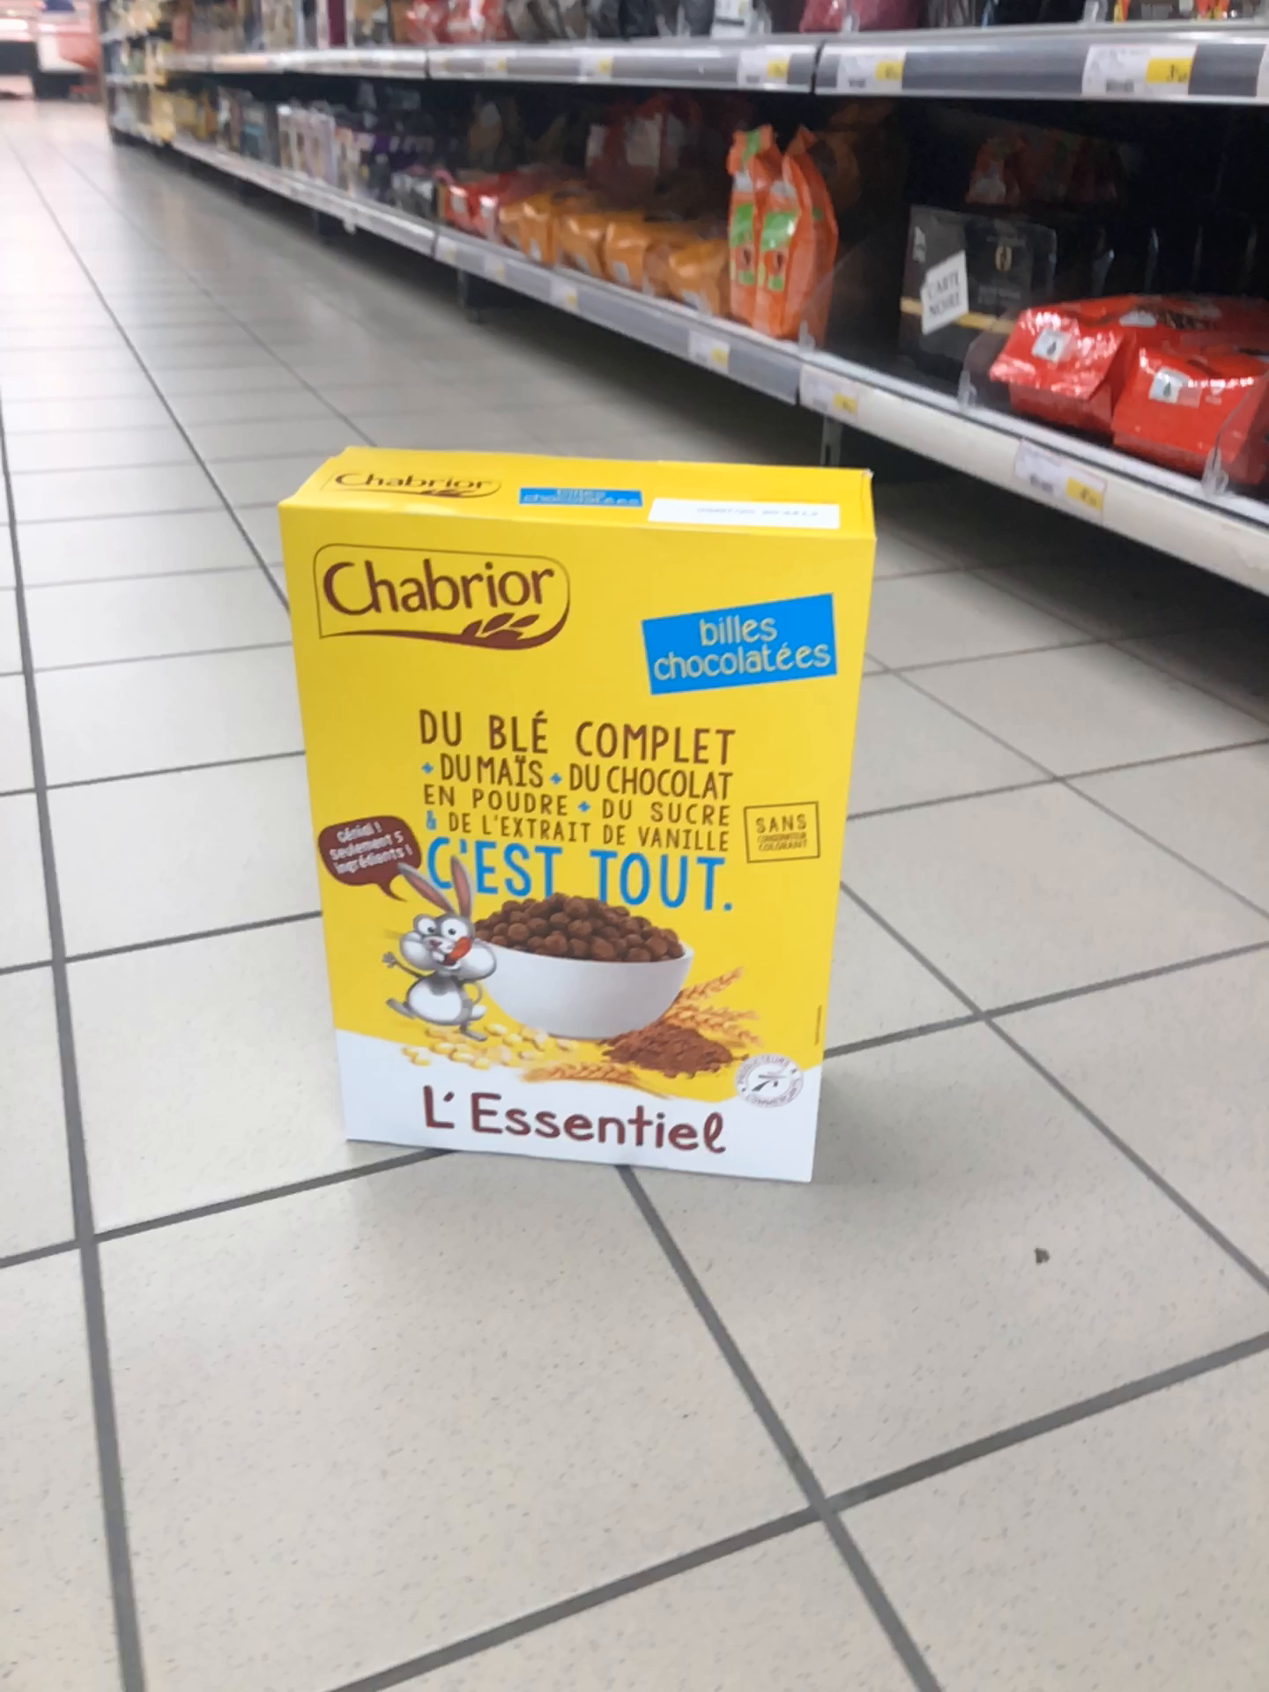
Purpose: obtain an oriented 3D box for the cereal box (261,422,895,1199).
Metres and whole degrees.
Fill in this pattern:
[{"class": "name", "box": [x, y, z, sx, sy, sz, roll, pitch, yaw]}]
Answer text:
[{"class": "cereal box", "box": [-0.017, -0.011, 0.535, 0.200, 0.268, 0.091, 5, 27, 6]}]
